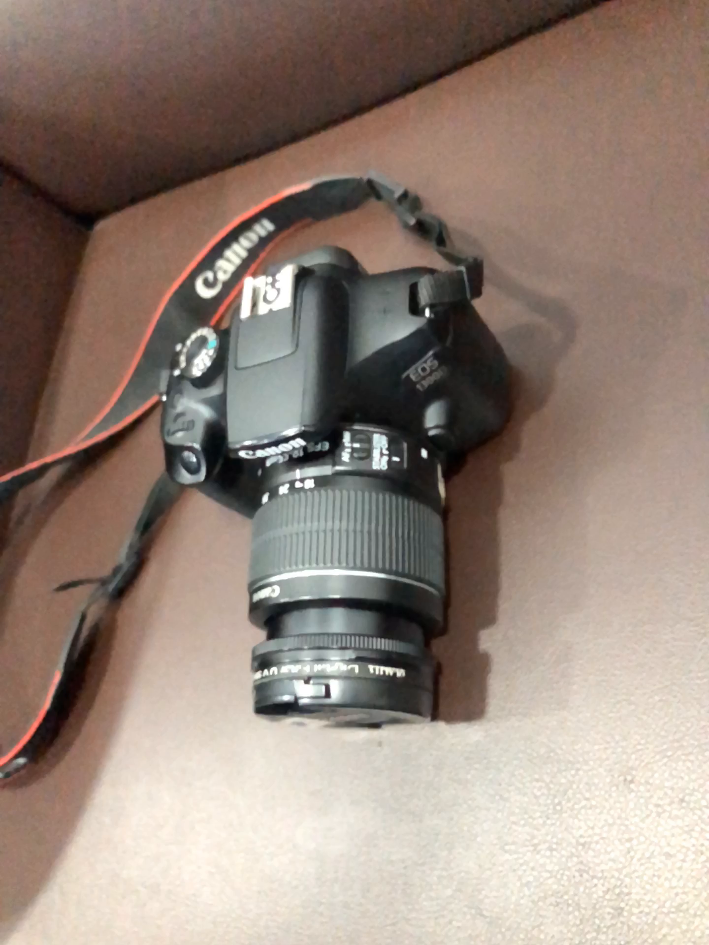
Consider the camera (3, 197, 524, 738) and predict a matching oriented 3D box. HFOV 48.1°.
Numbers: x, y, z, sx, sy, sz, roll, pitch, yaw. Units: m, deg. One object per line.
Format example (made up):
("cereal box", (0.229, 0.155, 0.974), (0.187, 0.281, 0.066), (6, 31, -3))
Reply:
("camera", (-0.022, 0.010, 0.271), (0.130, 0.089, 0.141), (-11, 61, 30))
